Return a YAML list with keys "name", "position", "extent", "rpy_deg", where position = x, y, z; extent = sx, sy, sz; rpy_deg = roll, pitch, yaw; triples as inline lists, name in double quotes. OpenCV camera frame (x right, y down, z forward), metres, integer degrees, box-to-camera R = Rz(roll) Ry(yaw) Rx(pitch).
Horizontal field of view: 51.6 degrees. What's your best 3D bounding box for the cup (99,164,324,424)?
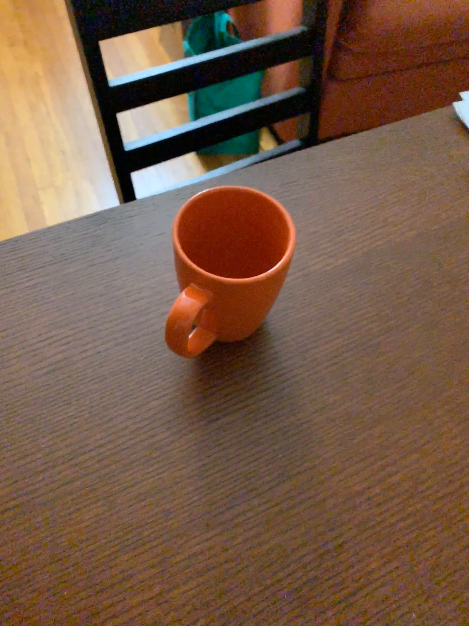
- name: "cup"
  position: [-0.013, -0.012, 0.366]
  extent: [0.100, 0.110, 0.130]
  rpy_deg: [24, 61, 10]
